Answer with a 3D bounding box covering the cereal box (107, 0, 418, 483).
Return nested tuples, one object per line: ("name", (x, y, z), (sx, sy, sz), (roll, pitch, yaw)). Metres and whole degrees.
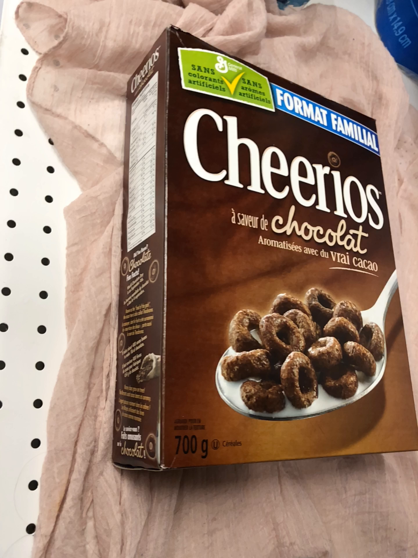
("cereal box", (0.048, -0.022, 0.388), (0.231, 0.090, 0.330), (9, 69, -30))
